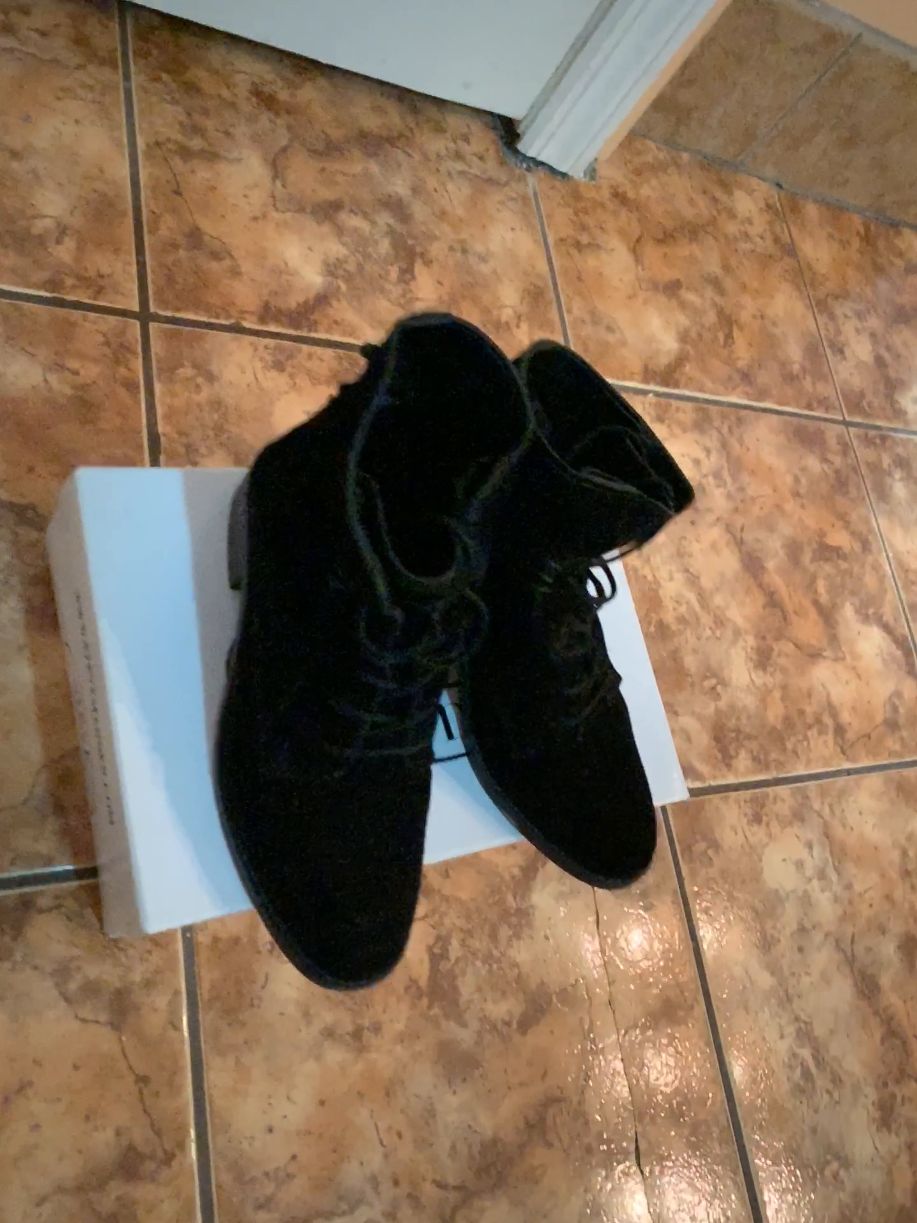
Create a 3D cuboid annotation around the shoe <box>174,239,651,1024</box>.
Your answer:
[{"bbox_3d":[-0.038,0.016,0.375,0.094,0.152,0.257,-1,70,-30],"label":"shoe"}]

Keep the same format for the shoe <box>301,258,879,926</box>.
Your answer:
[{"bbox_3d":[0.049,-0.006,0.446,0.107,0.142,0.267,-21,81,-34],"label":"shoe"}]
